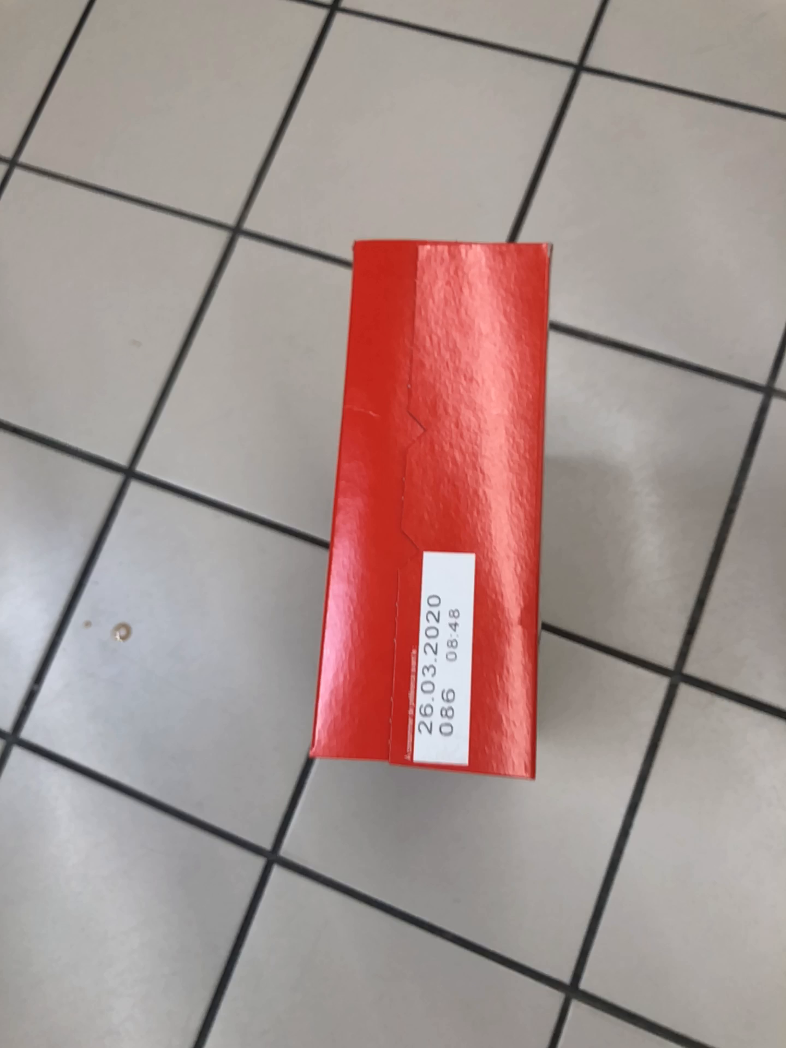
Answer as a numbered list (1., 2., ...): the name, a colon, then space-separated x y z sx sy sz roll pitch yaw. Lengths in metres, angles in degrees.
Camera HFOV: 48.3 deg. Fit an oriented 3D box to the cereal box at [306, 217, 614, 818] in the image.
1. cereal box: 0.043 0.017 0.428 0.090 0.280 0.200 3 79 8
